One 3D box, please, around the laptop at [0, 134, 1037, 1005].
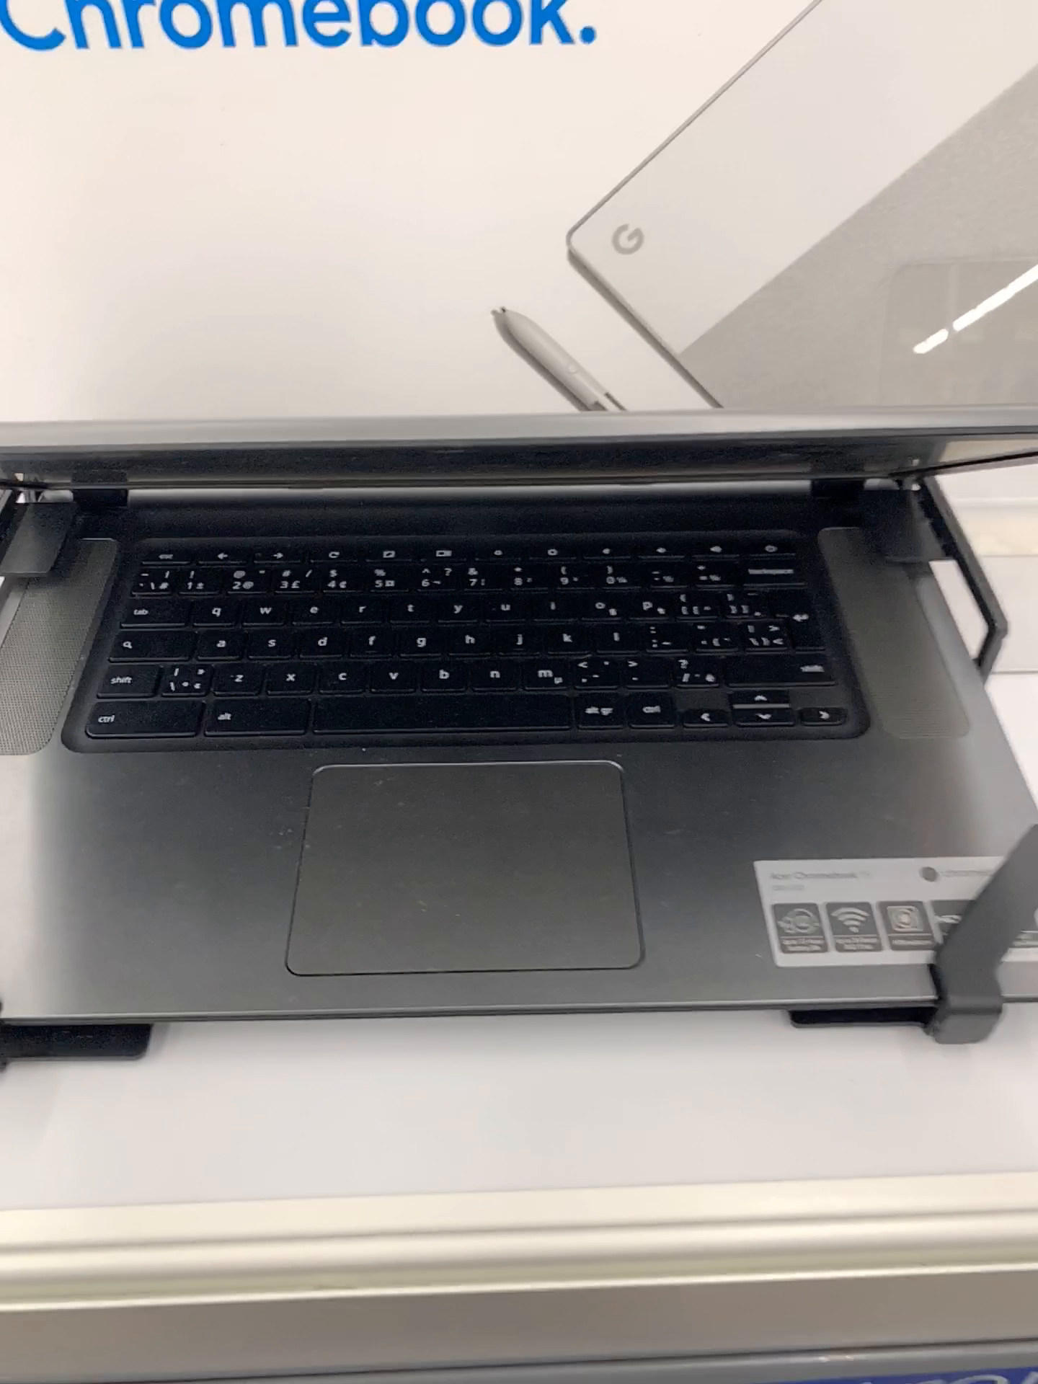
[{"bbox_3d":[-0.017,-0.041,0.275,0.301,0.116,0.194,-1,48,-1],"label":"laptop"}]
